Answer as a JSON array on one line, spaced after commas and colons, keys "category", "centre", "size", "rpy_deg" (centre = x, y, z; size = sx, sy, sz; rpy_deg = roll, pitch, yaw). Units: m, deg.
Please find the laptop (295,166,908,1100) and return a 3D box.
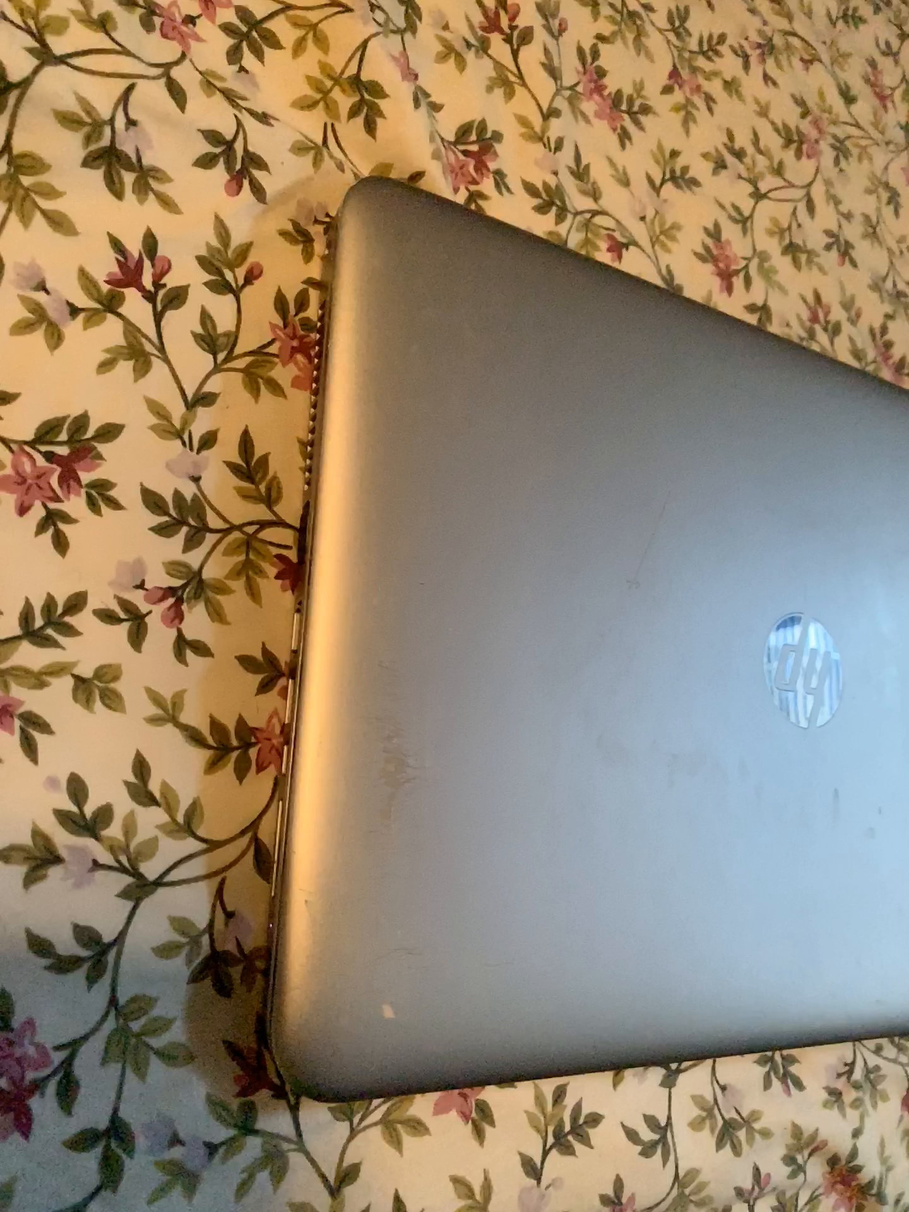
[{"category": "laptop", "centre": [0.117, 0.018, 0.312], "size": [0.338, 0.010, 0.228], "rpy_deg": [10, 75, -30]}]
